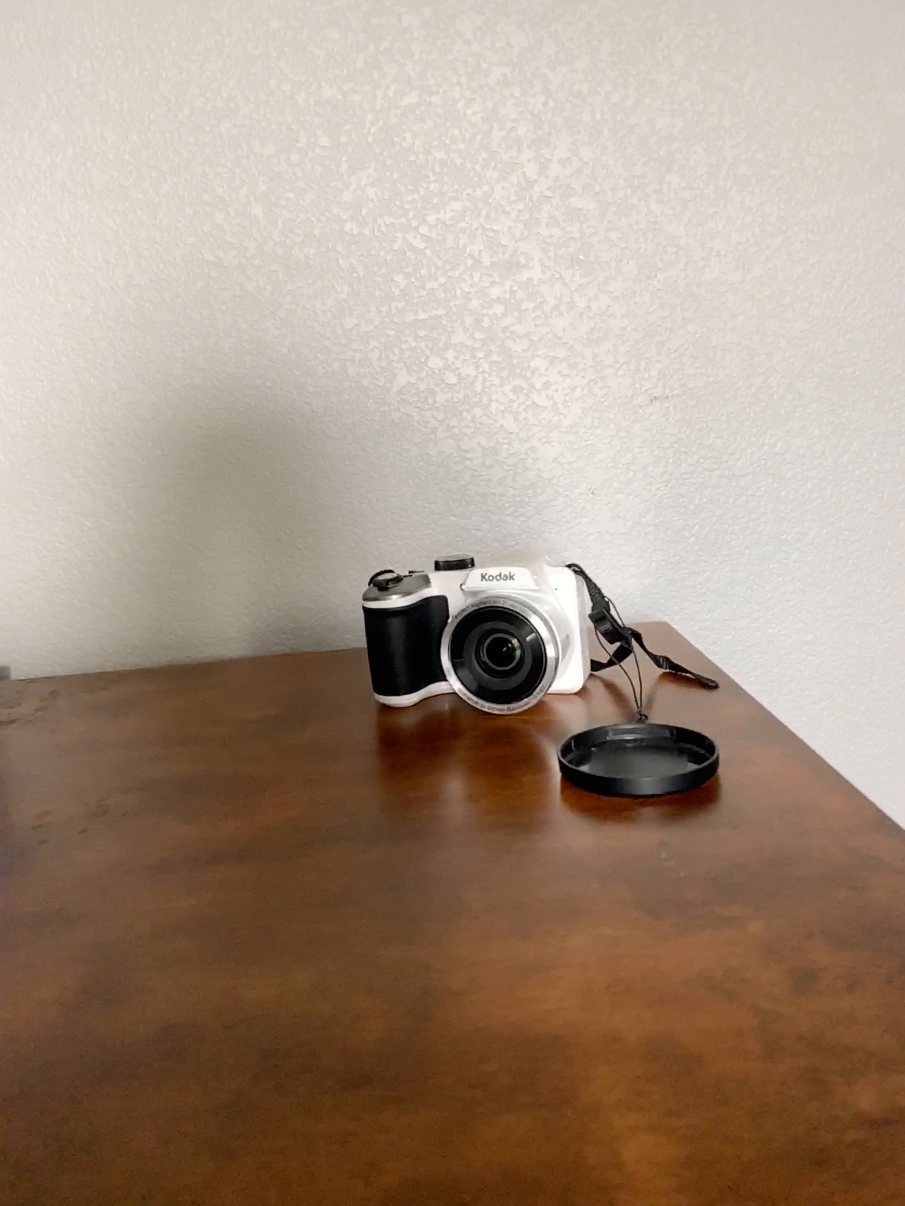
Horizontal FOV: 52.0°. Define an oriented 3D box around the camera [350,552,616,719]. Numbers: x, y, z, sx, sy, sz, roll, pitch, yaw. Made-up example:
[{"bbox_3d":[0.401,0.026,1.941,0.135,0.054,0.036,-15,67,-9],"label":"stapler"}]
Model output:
[{"bbox_3d":[0.018,0.015,0.500,0.119,0.071,0.070,-1,10,27],"label":"camera"}]
